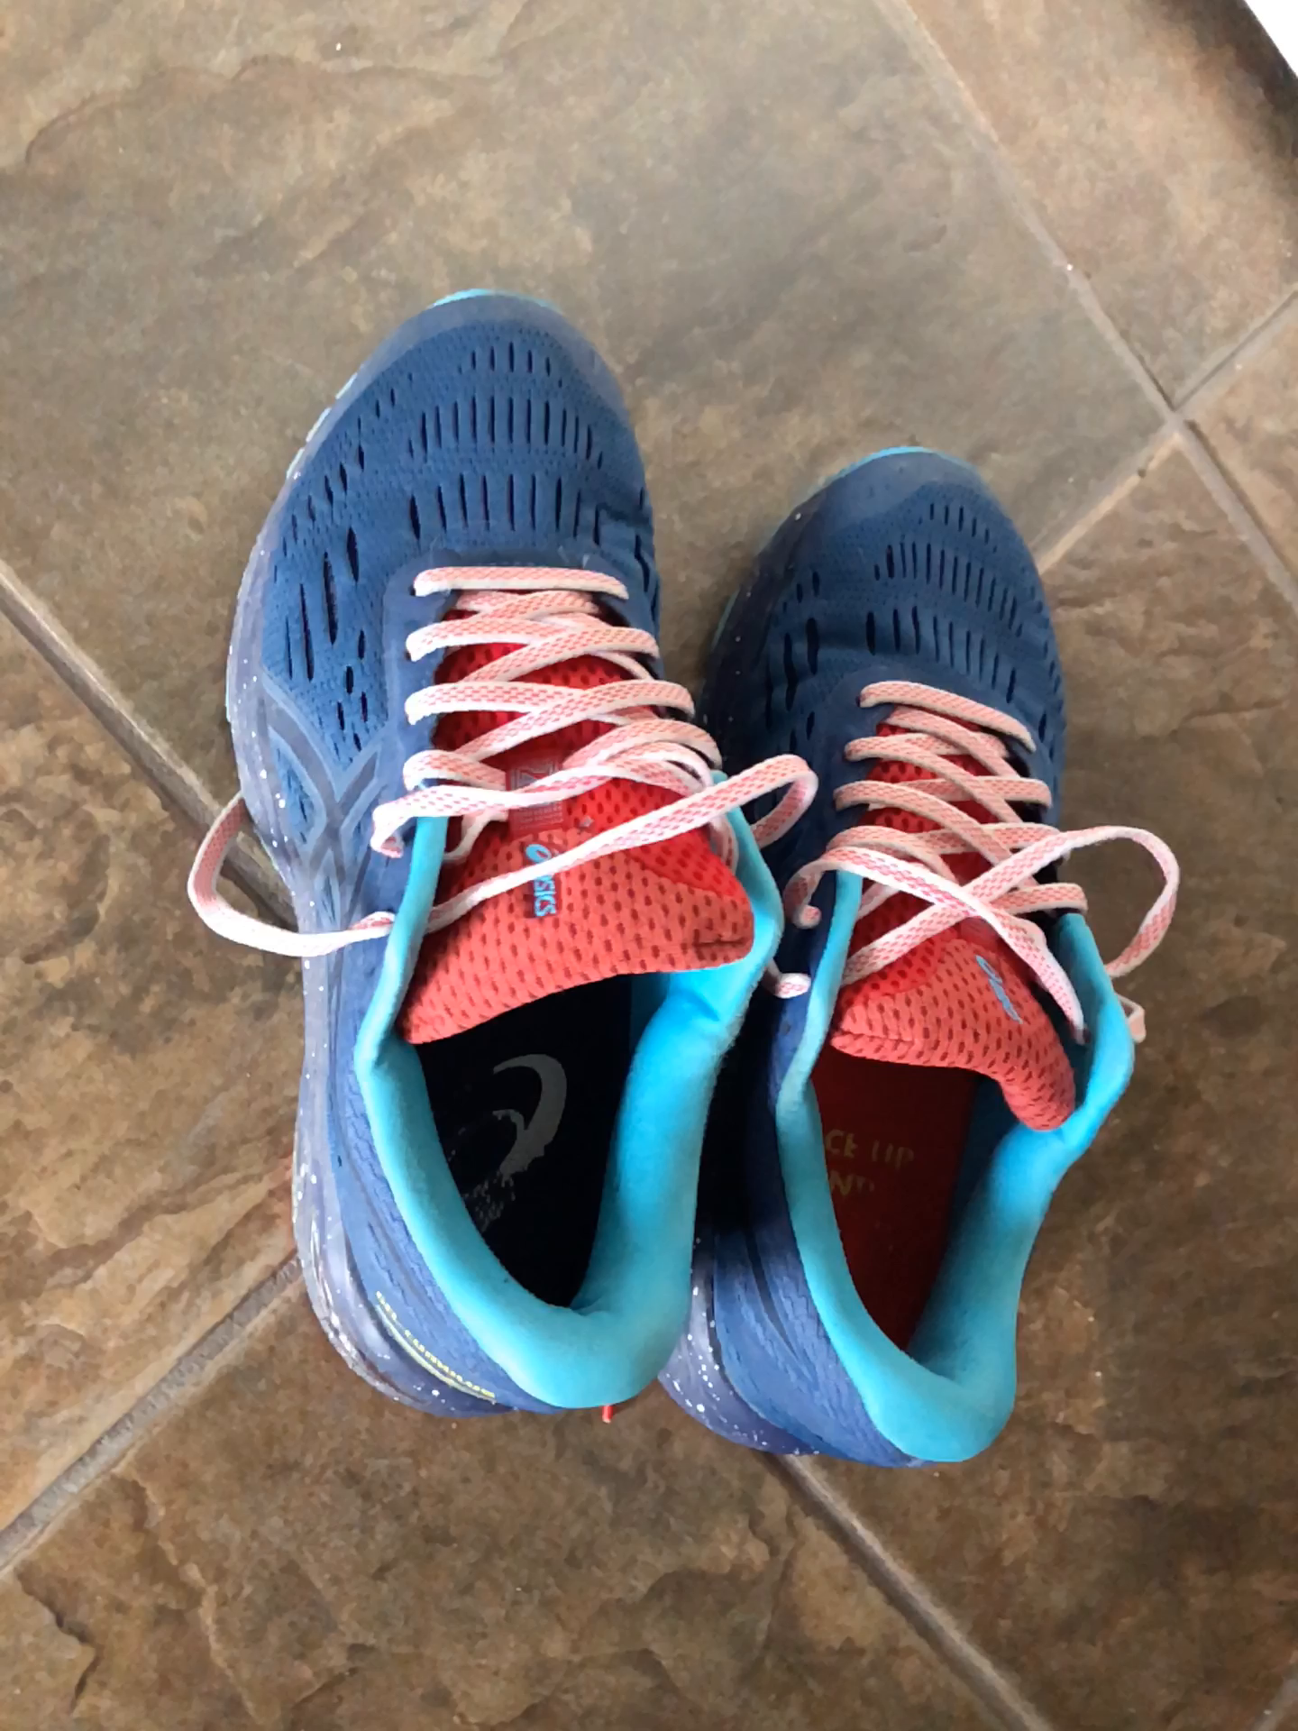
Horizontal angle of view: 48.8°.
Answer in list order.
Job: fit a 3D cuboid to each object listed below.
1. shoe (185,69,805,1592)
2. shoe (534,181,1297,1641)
[{"bbox_3d":[-0.045,-0.007,0.362,0.120,0.130,0.300,3,85,-21],"label":"shoe"},{"bbox_3d":[0.071,0.014,0.371,0.120,0.130,0.300,12,82,-20],"label":"shoe"}]
